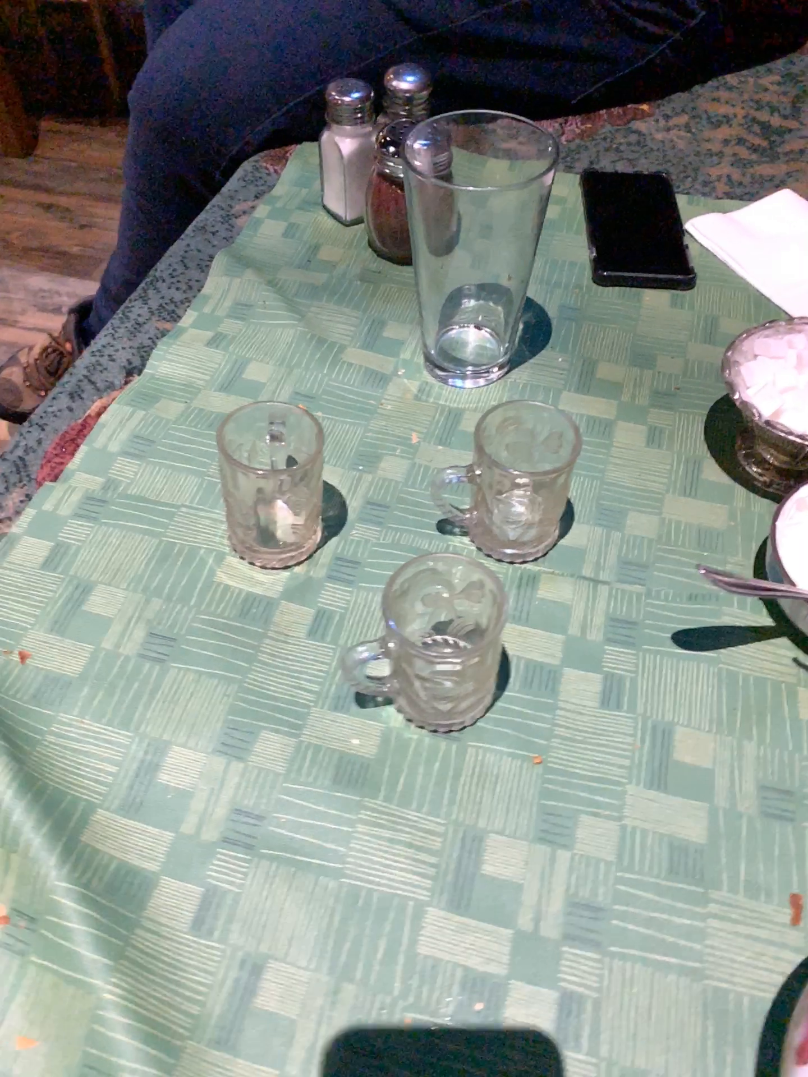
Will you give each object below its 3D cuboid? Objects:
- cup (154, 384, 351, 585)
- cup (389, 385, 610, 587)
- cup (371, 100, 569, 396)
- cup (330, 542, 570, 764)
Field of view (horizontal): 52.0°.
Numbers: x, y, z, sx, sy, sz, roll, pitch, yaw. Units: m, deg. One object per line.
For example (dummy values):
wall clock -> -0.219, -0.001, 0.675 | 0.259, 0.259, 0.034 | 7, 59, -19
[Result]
cup -> -0.072, -0.029, 0.419 | 0.070, 0.050, 0.080 | 8, 52, 8
cup -> 0.045, -0.027, 0.421 | 0.090, 0.060, 0.060 | -14, 52, -10
cup -> 0.041, -0.180, 0.519 | 0.100, 0.129, 0.110 | 7, 52, 6
cup -> 0.017, 0.052, 0.372 | 0.090, 0.070, 0.060 | -7, 52, -5
